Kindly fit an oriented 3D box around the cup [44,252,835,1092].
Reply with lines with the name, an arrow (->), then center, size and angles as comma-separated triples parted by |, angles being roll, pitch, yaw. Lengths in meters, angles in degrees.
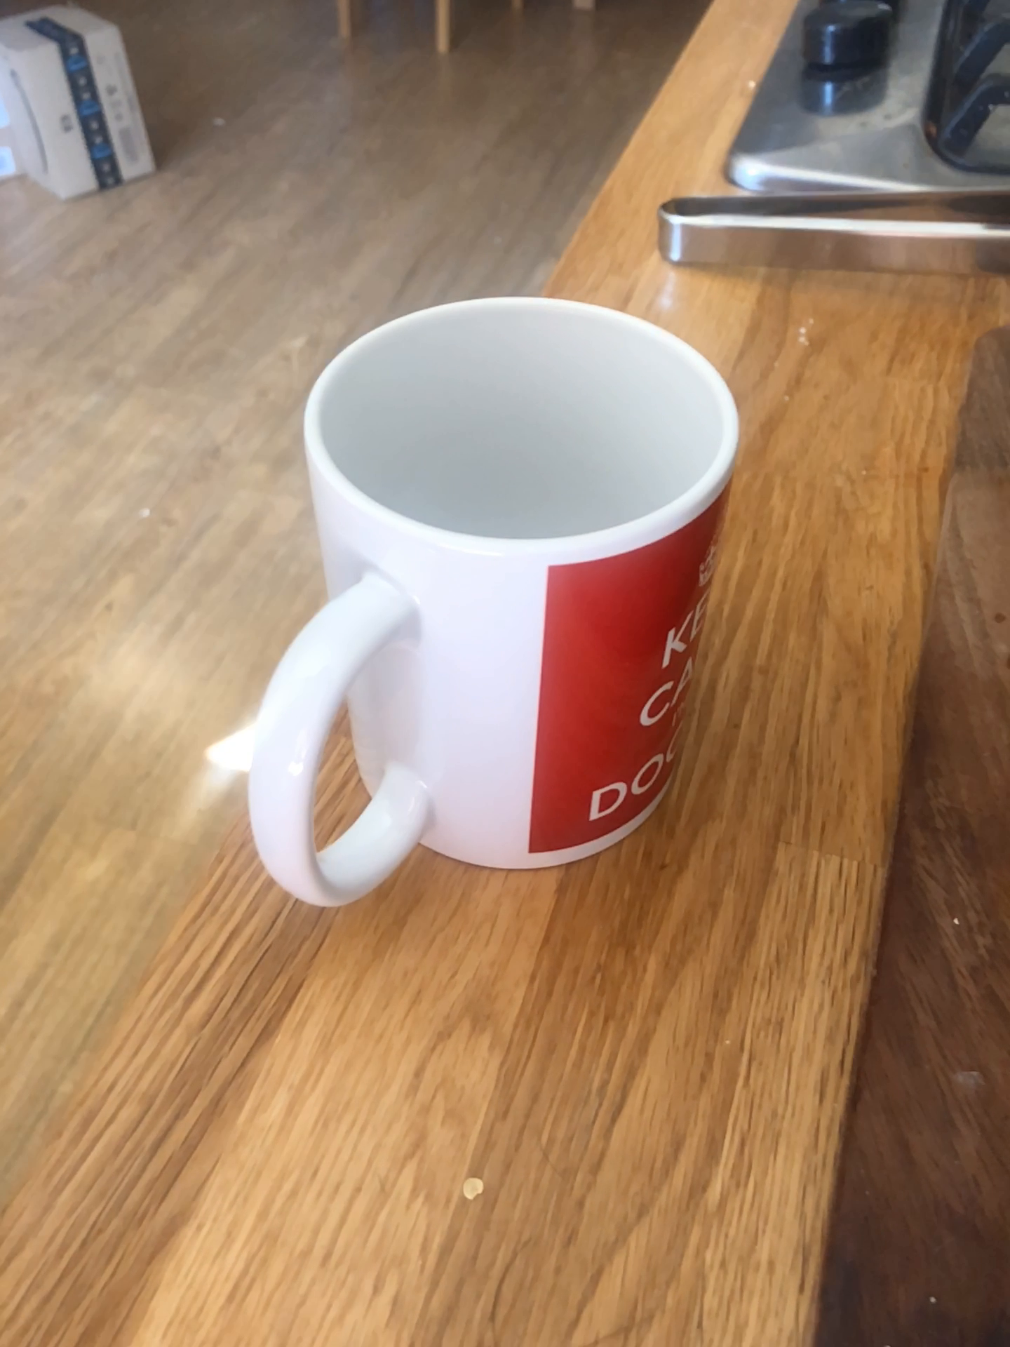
cup -> -0.006, -0.006, 0.235 | 0.089, 0.094, 0.124 | 25, 51, 18
